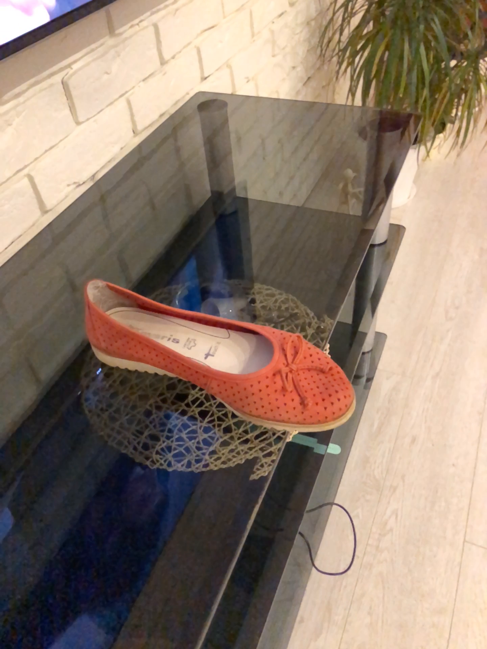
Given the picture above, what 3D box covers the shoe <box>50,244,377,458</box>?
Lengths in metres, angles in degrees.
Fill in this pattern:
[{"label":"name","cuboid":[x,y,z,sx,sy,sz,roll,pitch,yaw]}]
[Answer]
[{"label":"shoe","cuboid":[-0.025,0.013,0.449,0.247,0.079,0.091,15,48,22]}]
